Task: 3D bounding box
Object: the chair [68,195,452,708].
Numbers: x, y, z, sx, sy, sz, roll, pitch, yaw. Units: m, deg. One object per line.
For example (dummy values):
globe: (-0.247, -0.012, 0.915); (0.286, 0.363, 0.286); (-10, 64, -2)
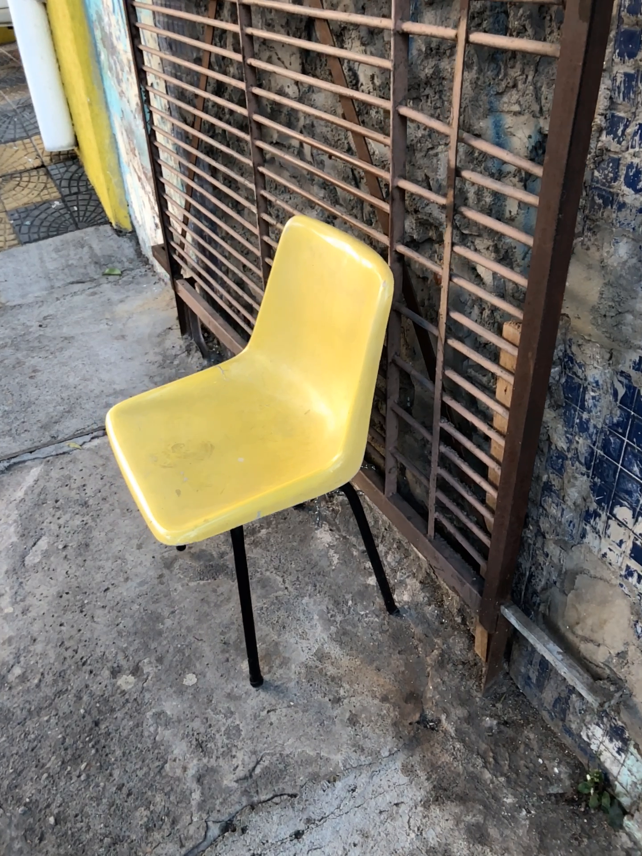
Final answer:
chair: (-0.111, 0.022, 1.325); (0.470, 0.715, 0.483); (-17, 37, -20)
